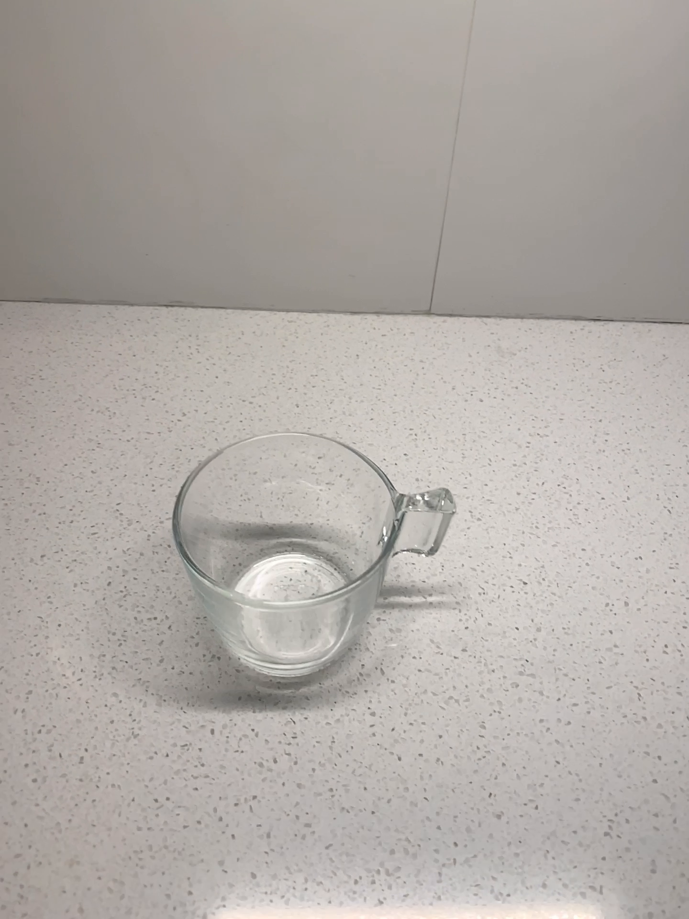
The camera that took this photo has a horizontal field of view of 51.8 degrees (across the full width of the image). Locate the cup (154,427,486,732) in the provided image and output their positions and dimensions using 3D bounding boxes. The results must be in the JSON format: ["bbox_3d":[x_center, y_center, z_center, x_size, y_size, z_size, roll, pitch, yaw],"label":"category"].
[{"bbox_3d":[-0.012,0.048,0.295,0.110,0.080,0.090,-2,46,-5],"label":"cup"}]
